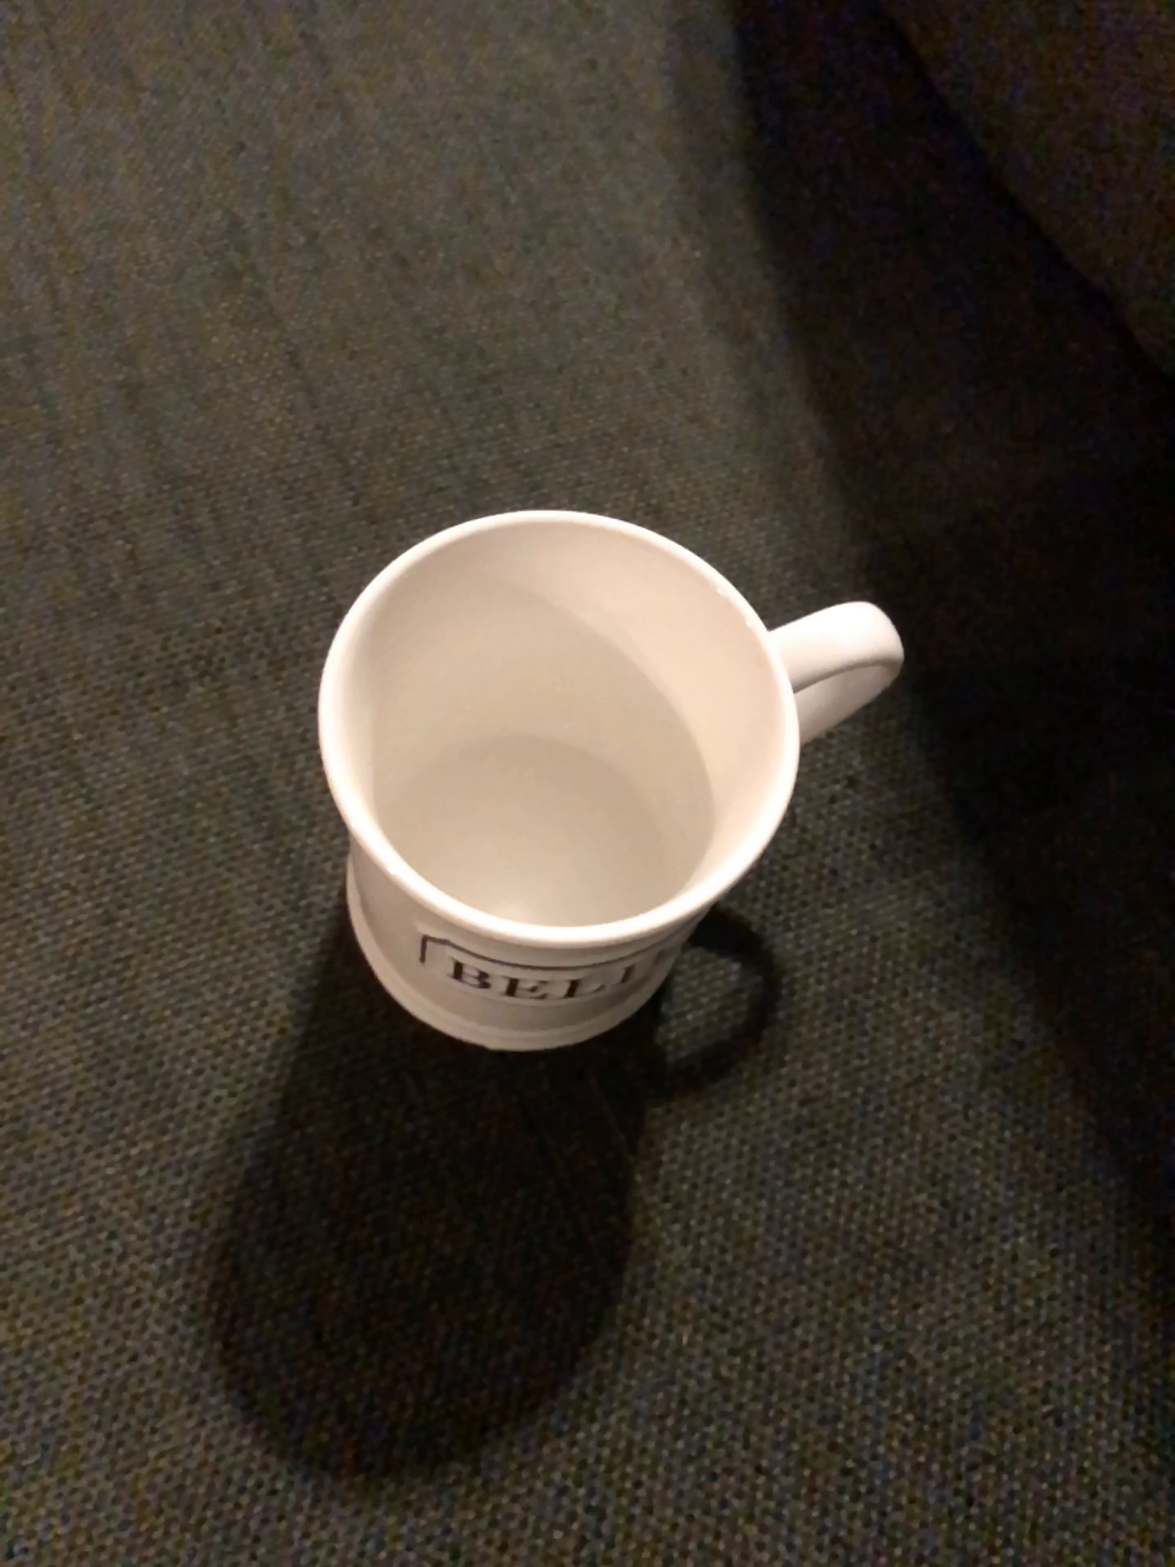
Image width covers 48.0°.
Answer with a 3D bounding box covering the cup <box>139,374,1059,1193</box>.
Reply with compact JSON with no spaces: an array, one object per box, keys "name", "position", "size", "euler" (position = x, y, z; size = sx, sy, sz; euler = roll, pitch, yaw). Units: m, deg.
[{"name":"cup","position":[-0.001,0.003,0.289],"size":[0.140,0.100,0.100],"euler":[-25,71,-16]}]
